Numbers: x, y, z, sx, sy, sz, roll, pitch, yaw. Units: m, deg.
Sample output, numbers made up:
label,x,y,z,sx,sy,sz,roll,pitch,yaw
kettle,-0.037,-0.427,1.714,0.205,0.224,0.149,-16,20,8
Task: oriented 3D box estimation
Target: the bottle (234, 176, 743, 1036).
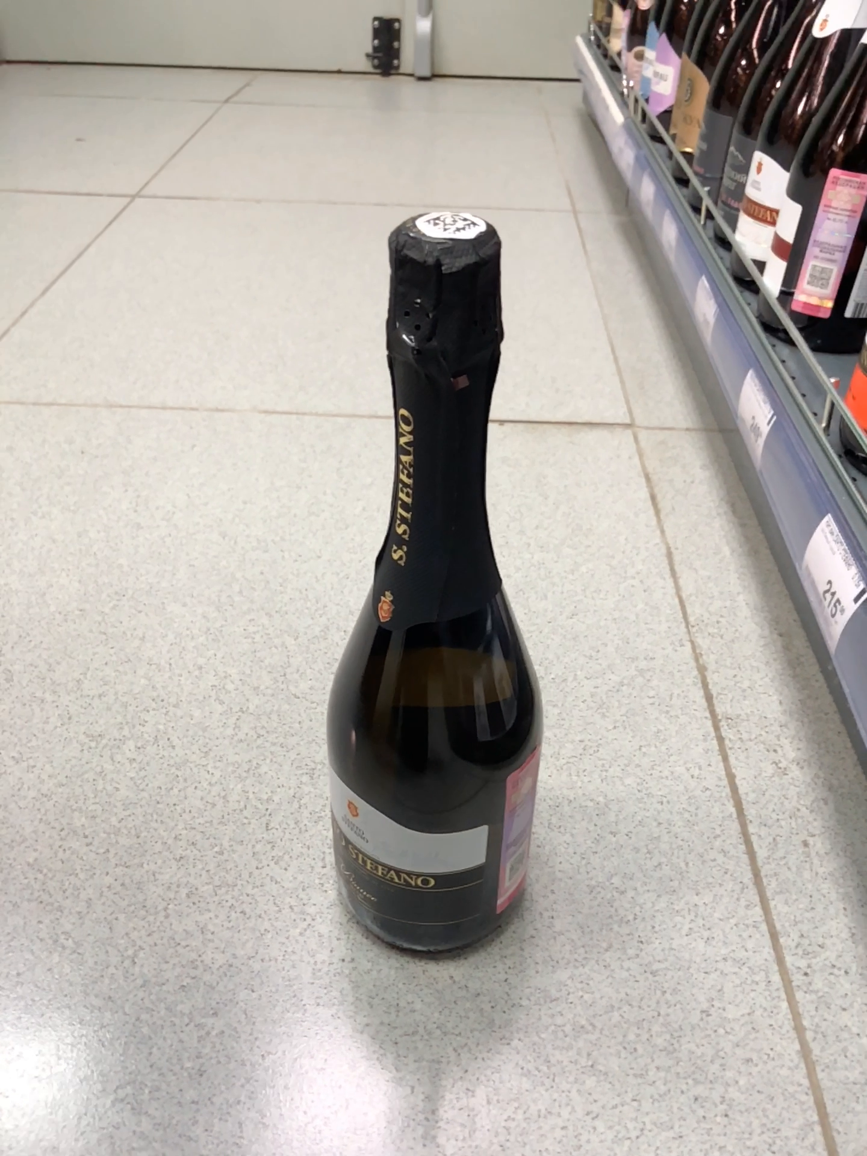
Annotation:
label,x,y,z,sx,sy,sz,roll,pitch,yaw
bottle,0.010,0.023,0.364,0.100,0.298,0.110,-25,43,-32
